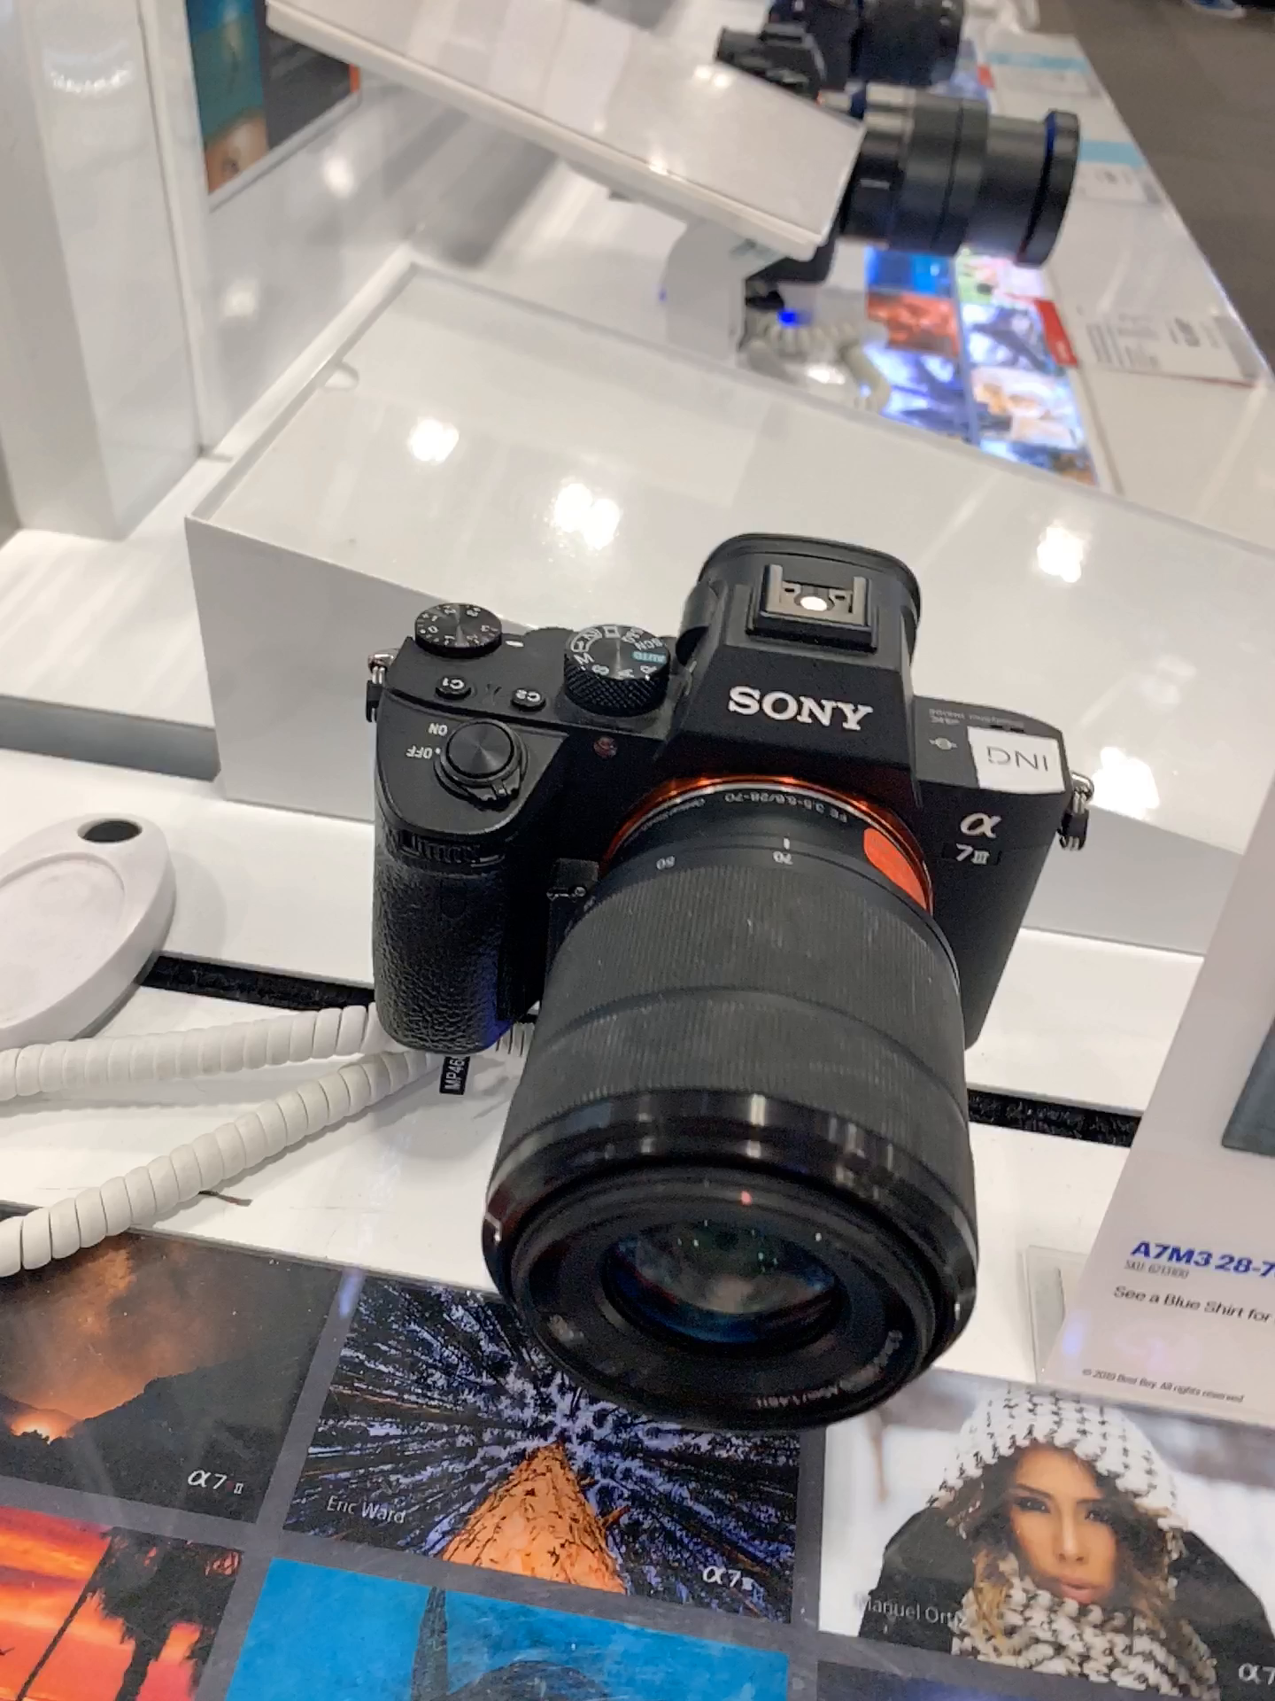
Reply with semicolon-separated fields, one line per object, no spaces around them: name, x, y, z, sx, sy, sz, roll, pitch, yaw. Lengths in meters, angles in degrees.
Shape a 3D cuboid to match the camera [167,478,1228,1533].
camera;0.009;0.020;0.233;0.119;0.100;0.141;7;42;1
